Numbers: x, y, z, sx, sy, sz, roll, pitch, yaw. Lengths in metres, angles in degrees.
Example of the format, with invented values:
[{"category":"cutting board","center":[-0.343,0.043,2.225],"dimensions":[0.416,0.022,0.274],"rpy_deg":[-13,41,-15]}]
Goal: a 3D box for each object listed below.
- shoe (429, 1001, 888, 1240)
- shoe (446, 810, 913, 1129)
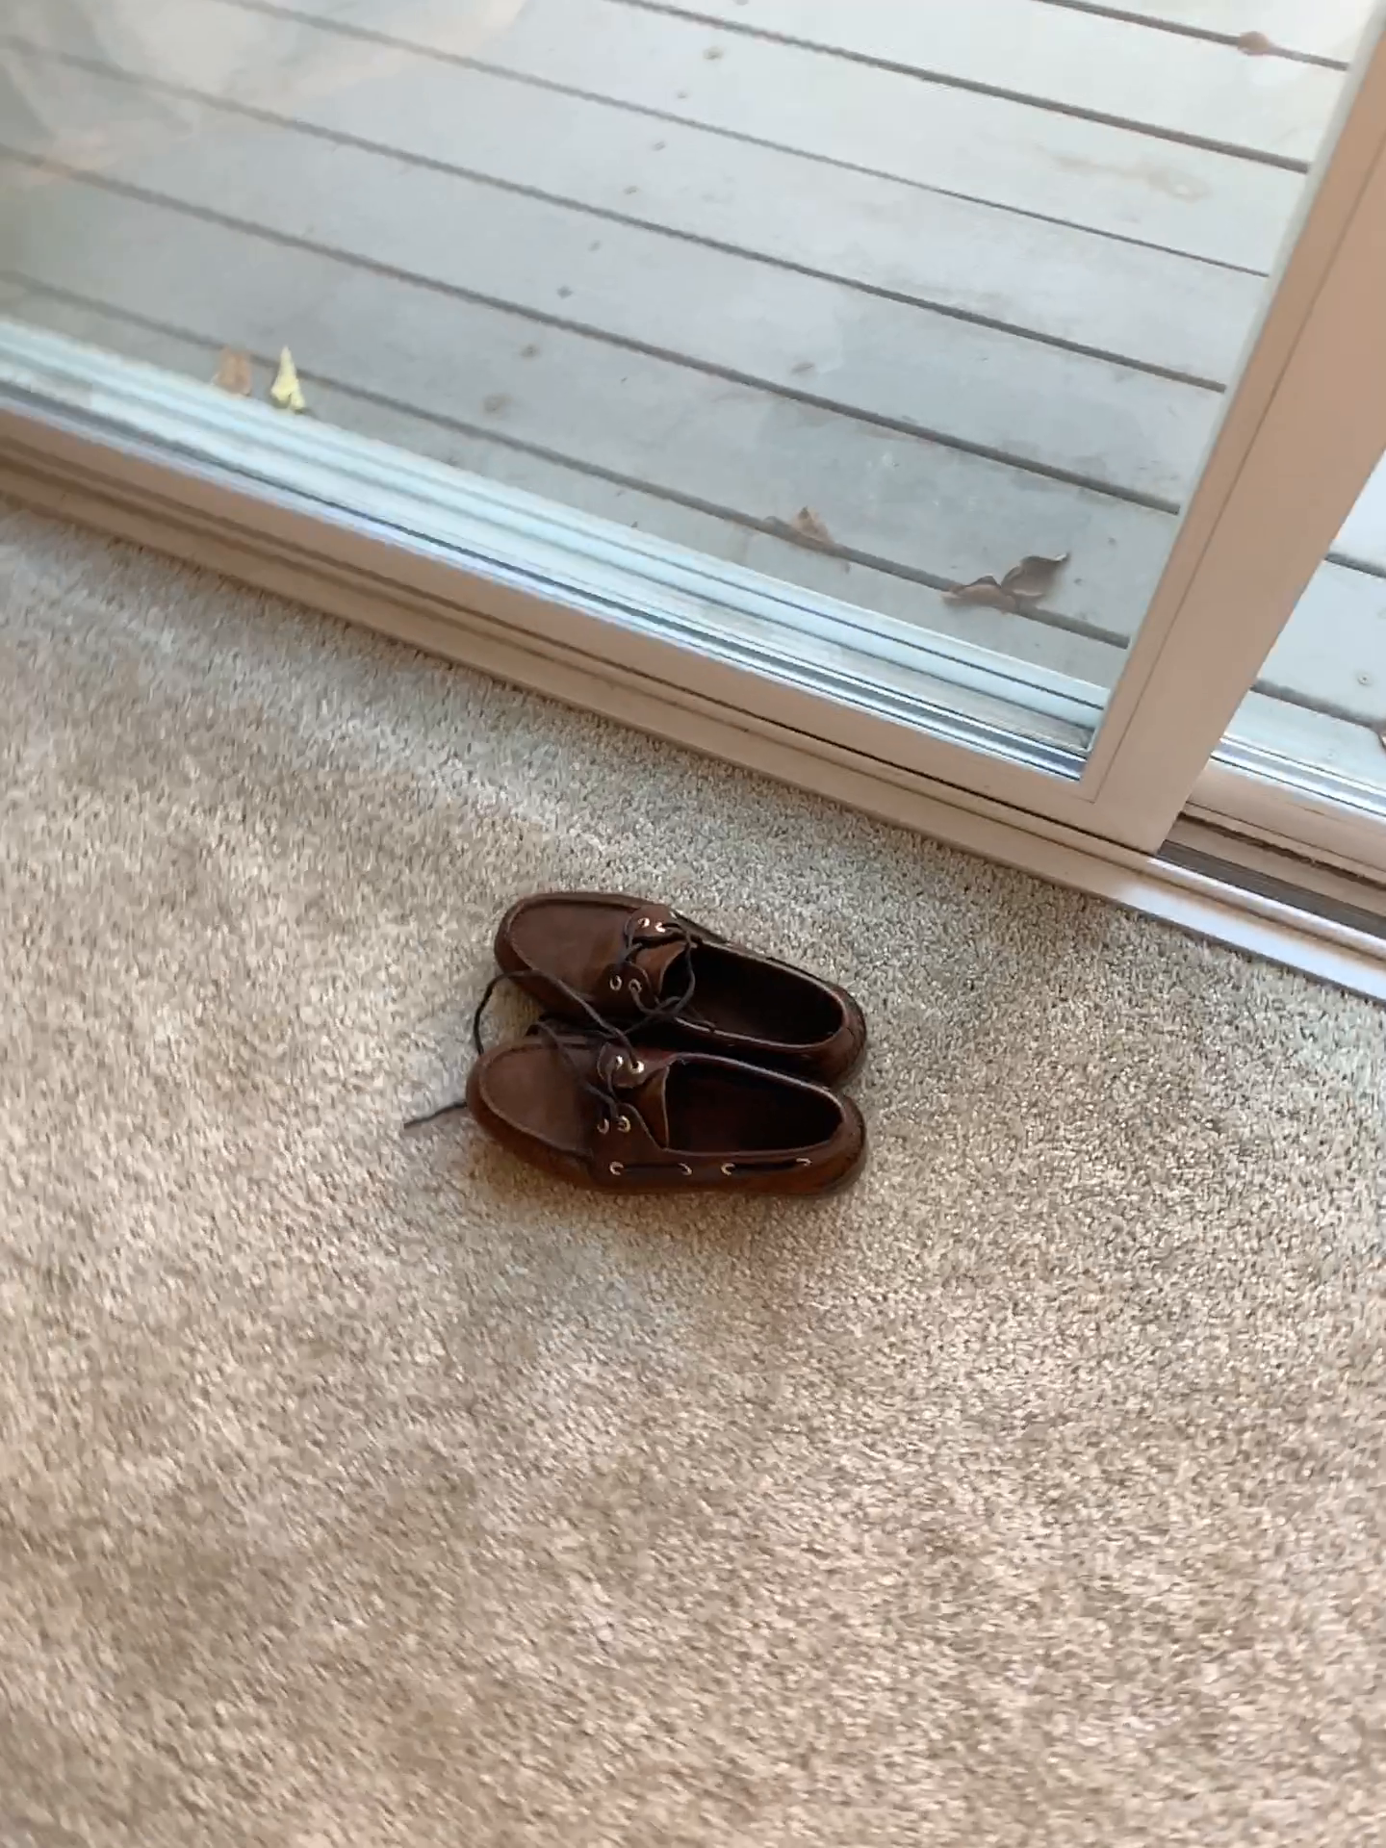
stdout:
[{"category":"shoe","center":[-0.019,0.136,0.976],"dimensions":[0.290,0.100,0.100],"rpy_deg":[8,69,7]},{"category":"shoe","center":[-0.008,0.033,1.010],"dimensions":[0.300,0.100,0.110],"rpy_deg":[19,71,11]}]
